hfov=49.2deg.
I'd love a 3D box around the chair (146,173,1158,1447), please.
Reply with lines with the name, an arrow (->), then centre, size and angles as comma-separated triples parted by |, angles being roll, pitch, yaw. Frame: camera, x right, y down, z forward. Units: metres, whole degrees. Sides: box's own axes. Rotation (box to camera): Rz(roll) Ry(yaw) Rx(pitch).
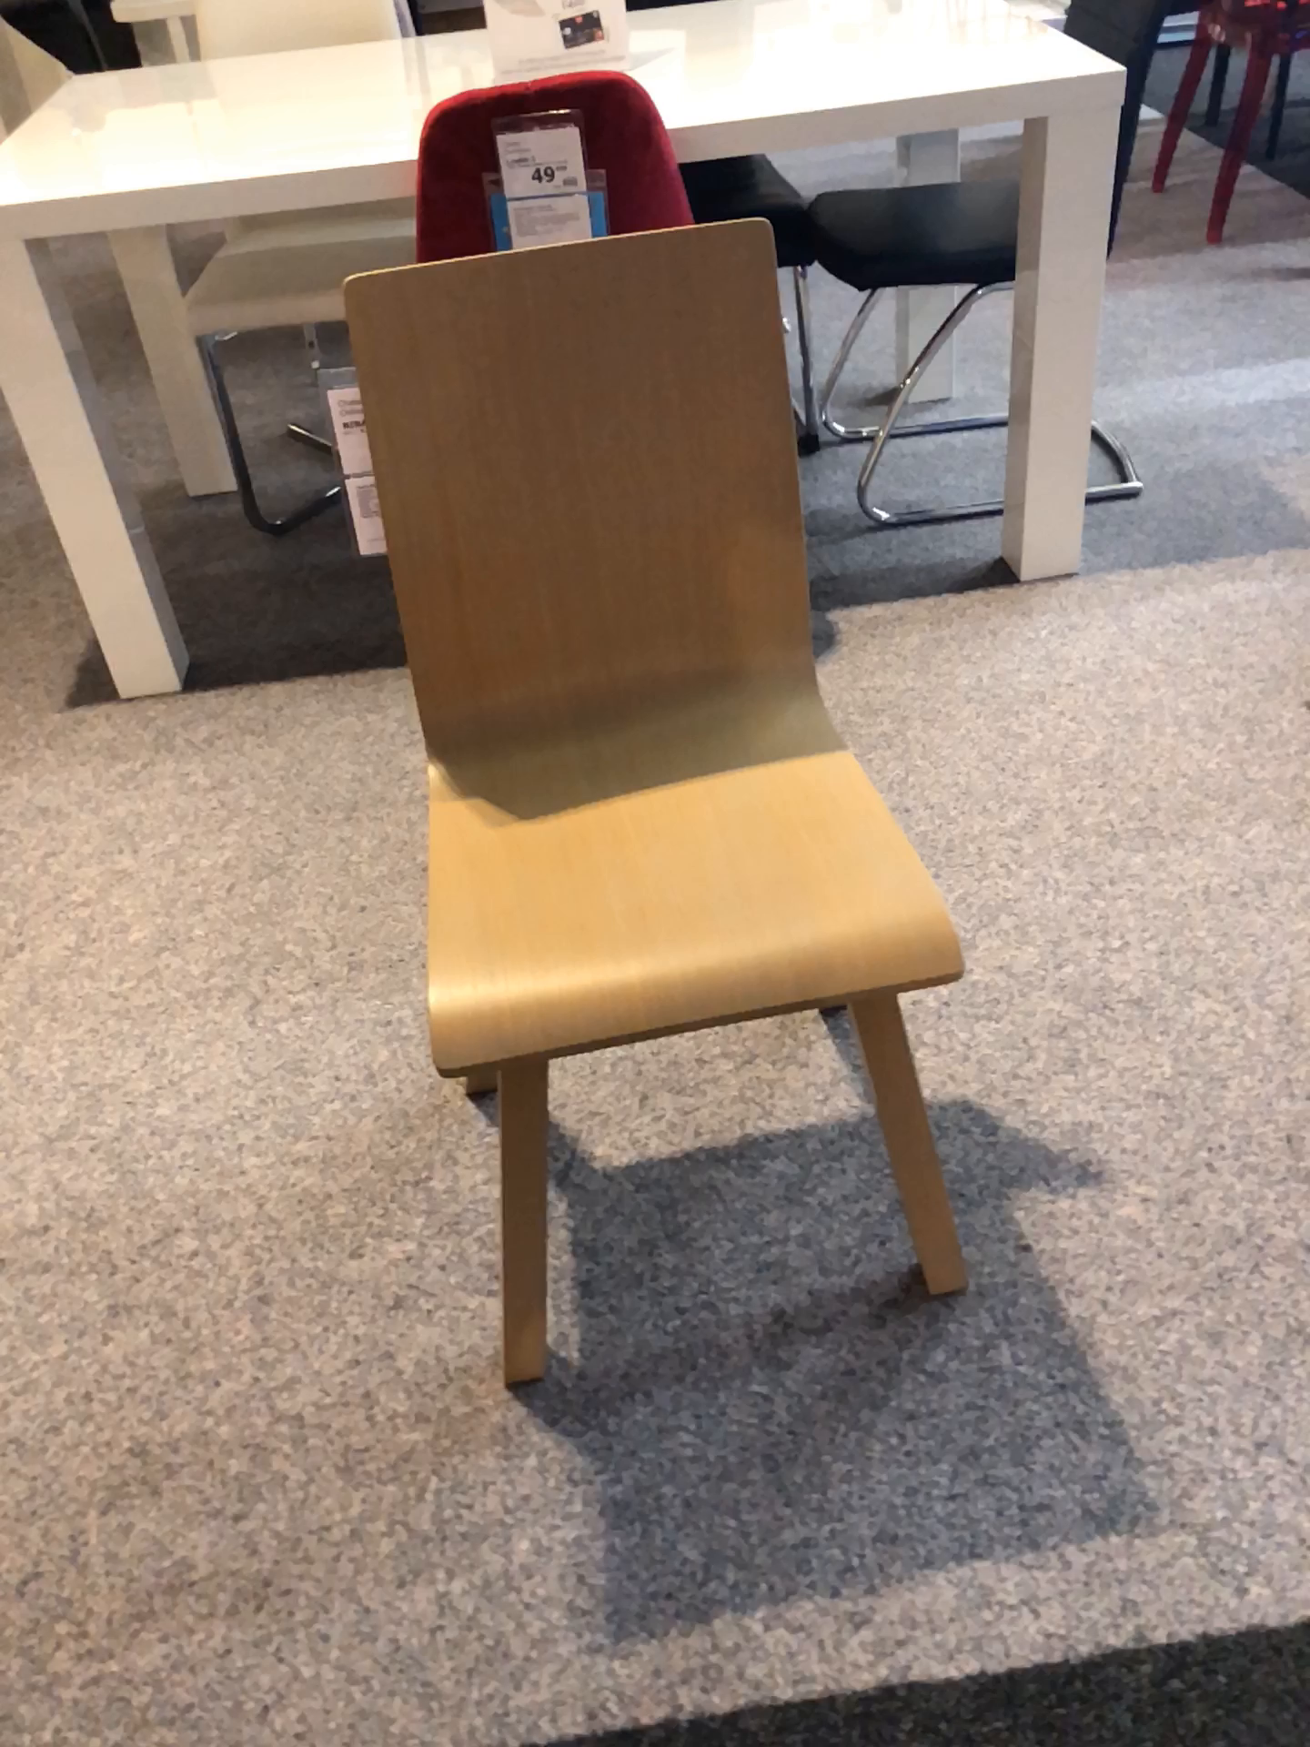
chair -> -0.002, -0.031, 1.173 | 0.520, 0.835, 0.493 | -10, 39, -5
